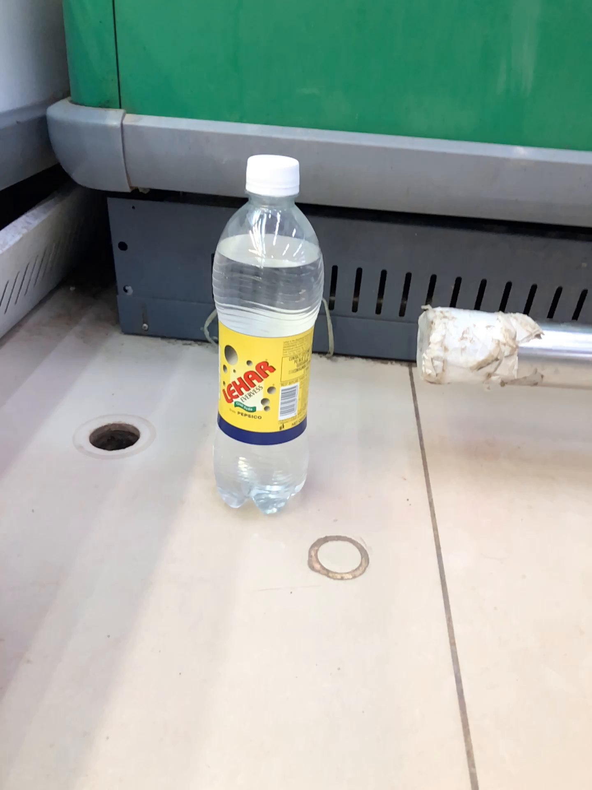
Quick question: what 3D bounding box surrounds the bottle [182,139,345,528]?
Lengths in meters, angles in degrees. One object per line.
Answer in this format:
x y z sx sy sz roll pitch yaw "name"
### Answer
-0.022 -0.034 0.418 0.070 0.228 0.070 3 29 -2 "bottle"
